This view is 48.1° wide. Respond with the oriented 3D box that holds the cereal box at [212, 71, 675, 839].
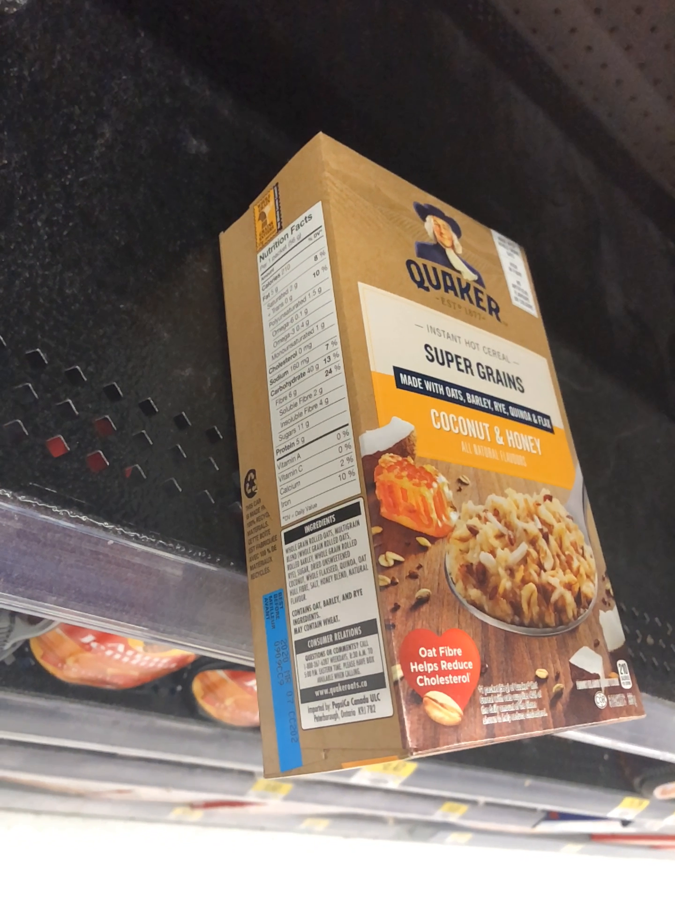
[{"bbox_3d":[0.038,0.000,0.274,0.141,0.060,0.230,14,58,-40],"label":"cereal box"}]
